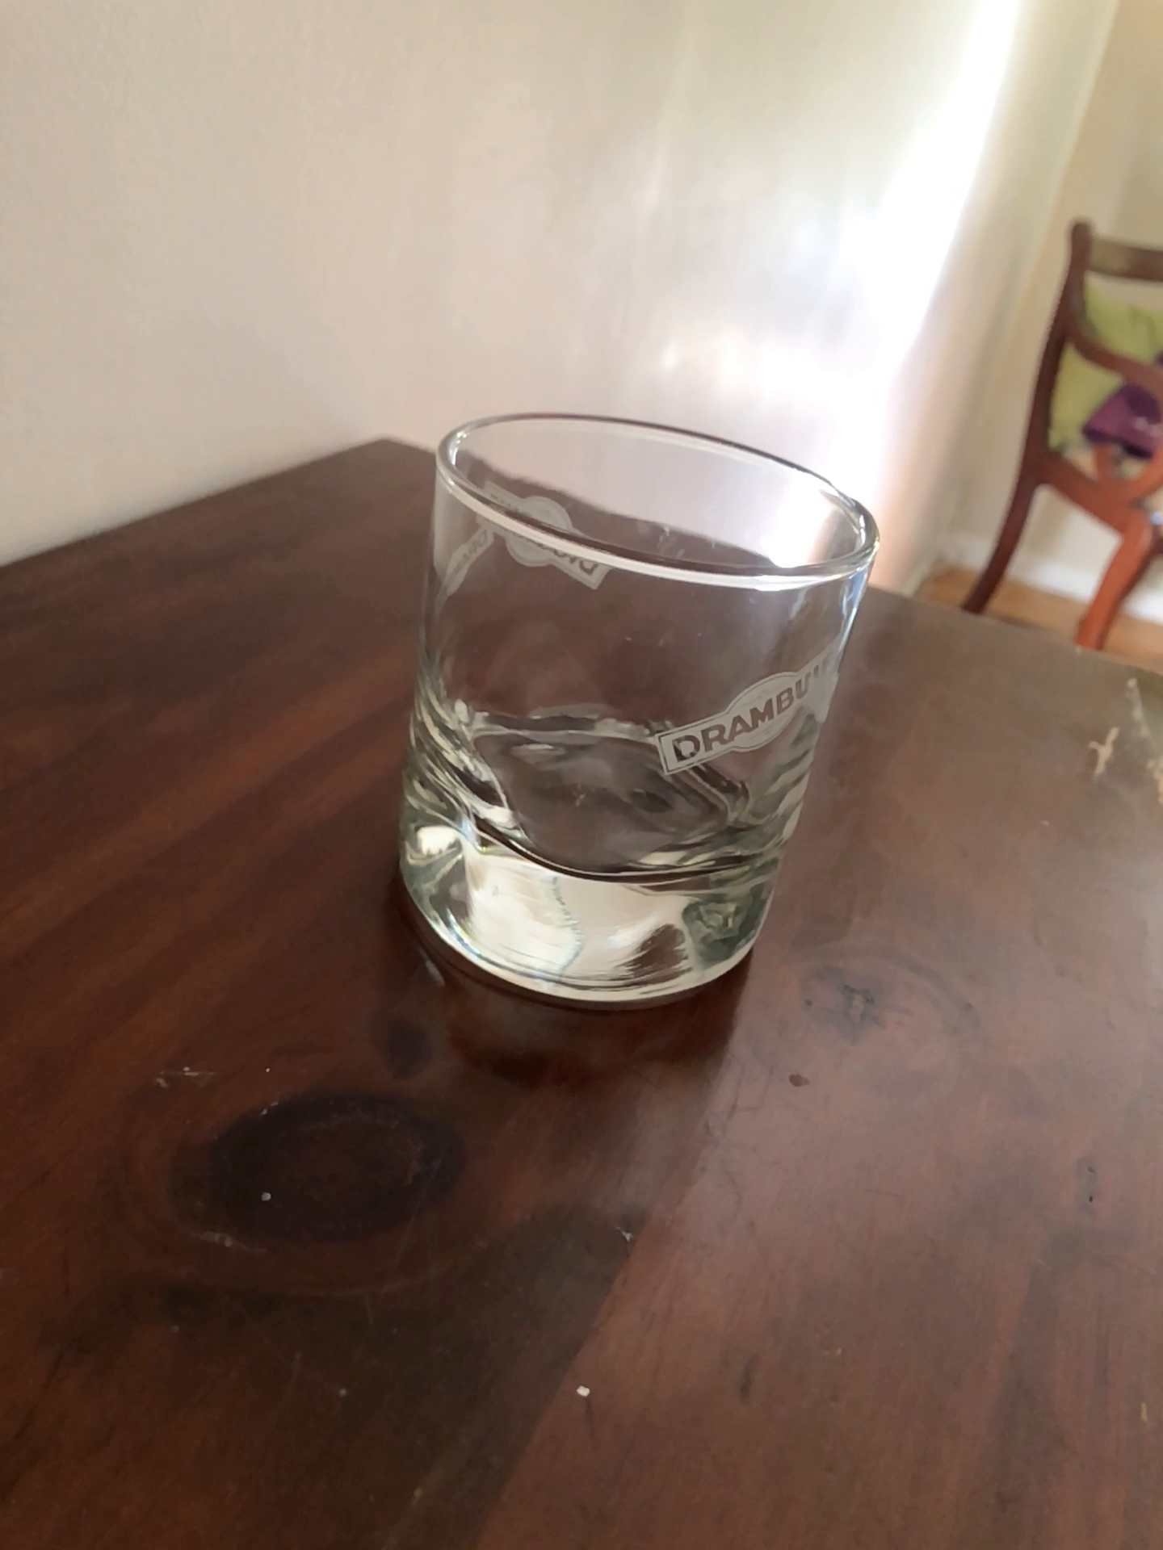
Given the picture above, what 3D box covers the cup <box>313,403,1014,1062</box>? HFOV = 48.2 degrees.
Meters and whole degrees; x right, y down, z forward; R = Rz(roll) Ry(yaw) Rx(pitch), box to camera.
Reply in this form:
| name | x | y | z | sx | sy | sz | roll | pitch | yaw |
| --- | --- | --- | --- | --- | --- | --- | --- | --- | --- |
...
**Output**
| name | x | y | z | sx | sy | sz | roll | pitch | yaw |
| --- | --- | --- | --- | --- | --- | --- | --- | --- | --- |
| cup | 0.008 | -0.015 | 0.237 | 0.082 | 0.080 | 0.081 | 9 | 28 | -5 |
